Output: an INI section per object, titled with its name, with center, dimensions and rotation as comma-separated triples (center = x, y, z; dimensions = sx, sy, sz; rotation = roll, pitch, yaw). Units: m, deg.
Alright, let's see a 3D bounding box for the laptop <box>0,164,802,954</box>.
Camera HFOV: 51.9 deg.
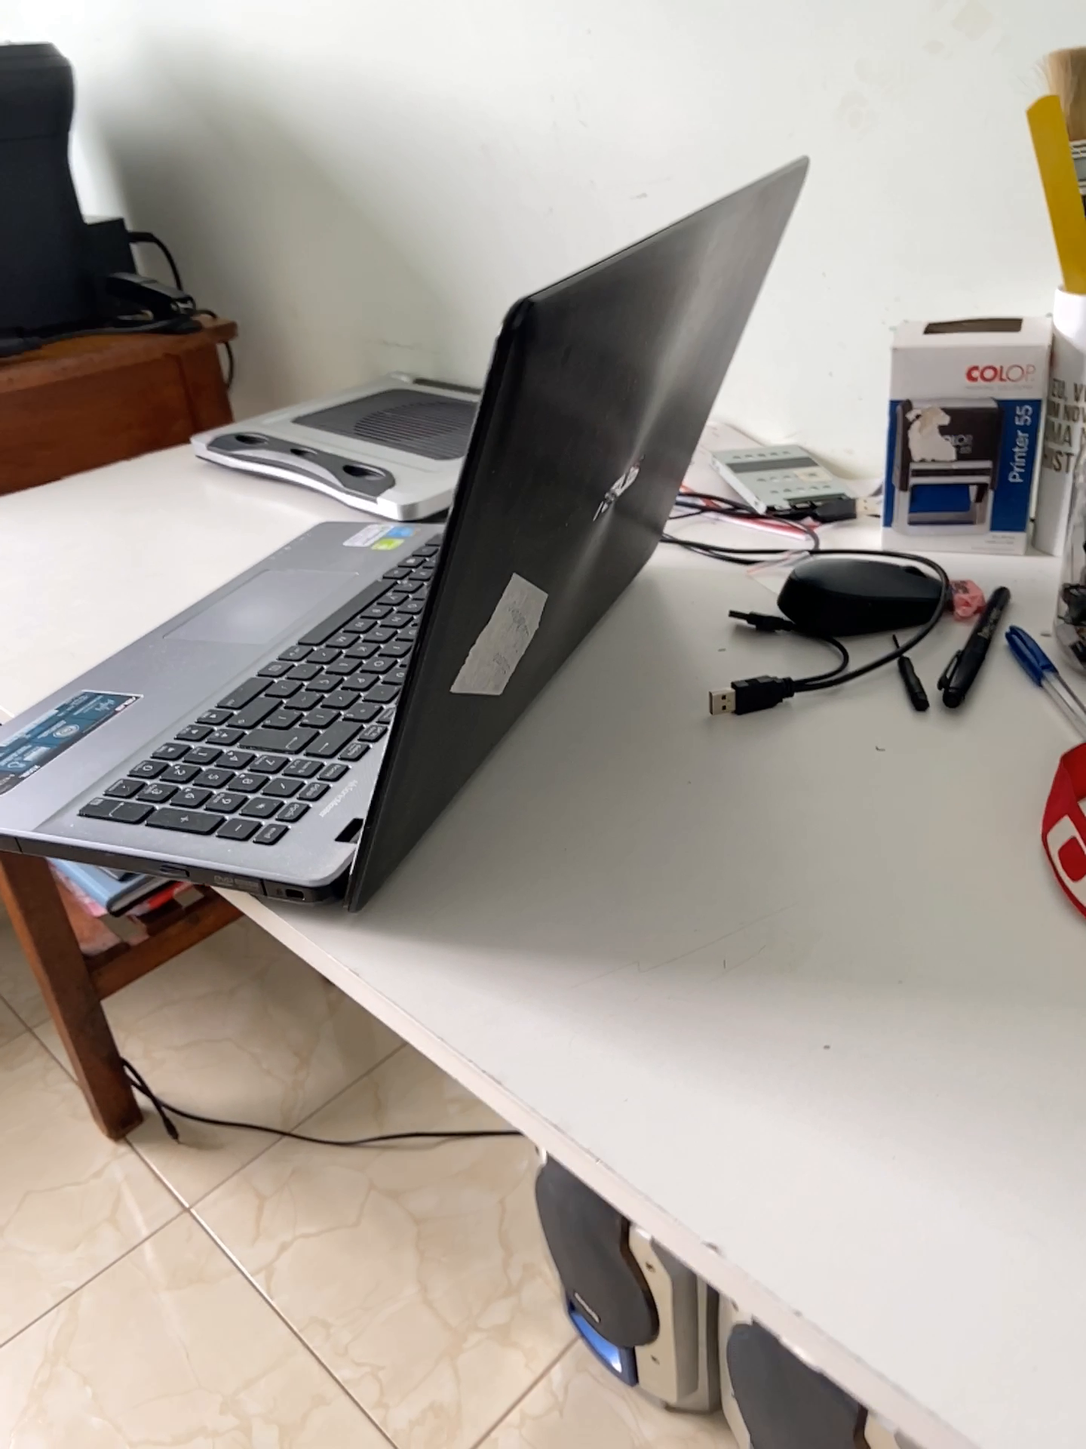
[laptop]
center = -0.090, -0.125, 0.551
dimensions = 0.356, 0.213, 0.378
rotation = 7, 32, 23
